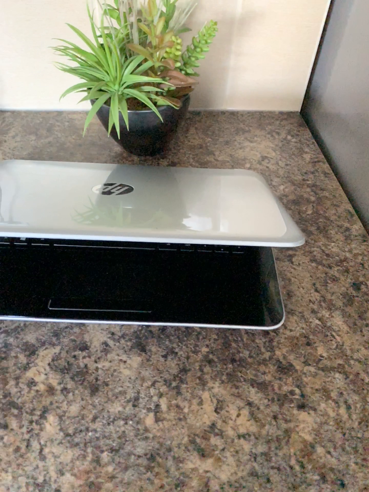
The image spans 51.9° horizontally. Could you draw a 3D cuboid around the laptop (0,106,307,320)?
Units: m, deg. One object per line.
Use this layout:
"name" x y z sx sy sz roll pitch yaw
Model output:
"laptop" -0.071 -0.043 0.378 0.328 0.081 0.208 2 48 -1
